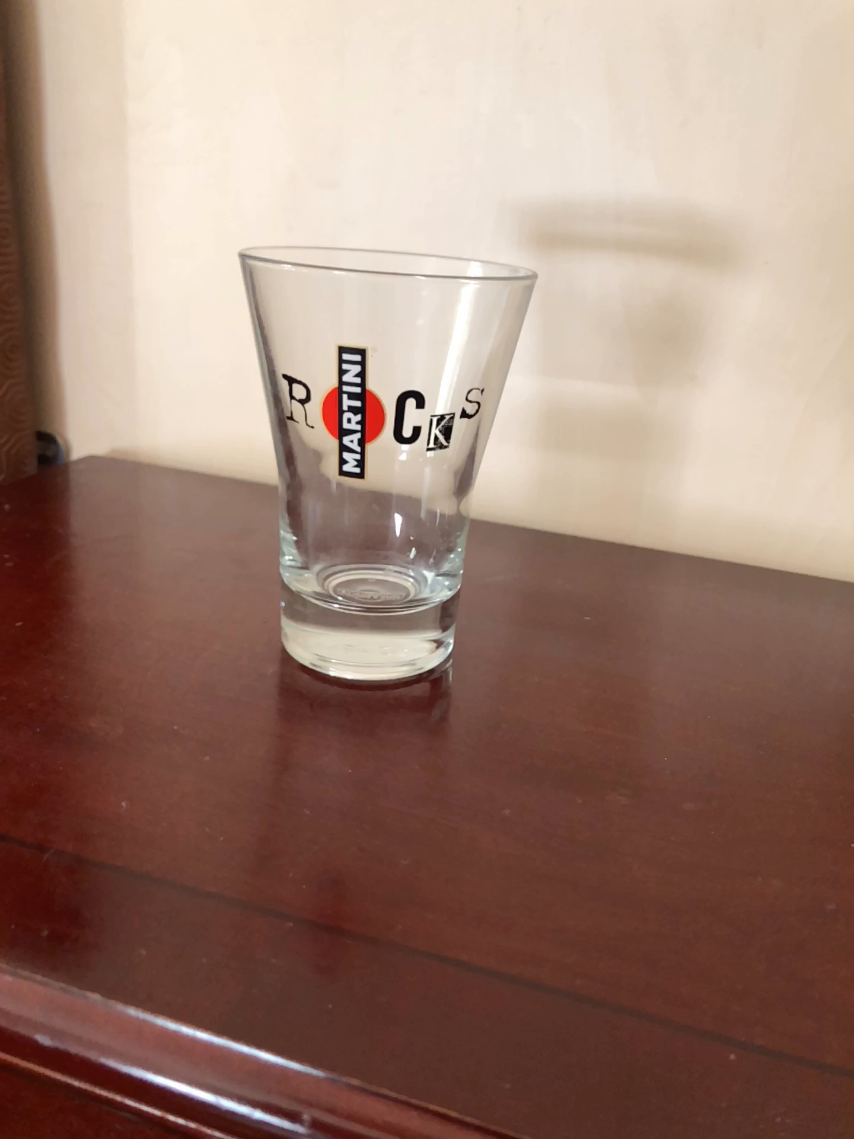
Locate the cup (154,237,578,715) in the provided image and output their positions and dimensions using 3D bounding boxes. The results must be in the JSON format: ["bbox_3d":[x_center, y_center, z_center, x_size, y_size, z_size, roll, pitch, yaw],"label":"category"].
[{"bbox_3d":[-0.016,-0.038,0.297,0.094,0.118,0.095,4,20,-1],"label":"cup"}]
